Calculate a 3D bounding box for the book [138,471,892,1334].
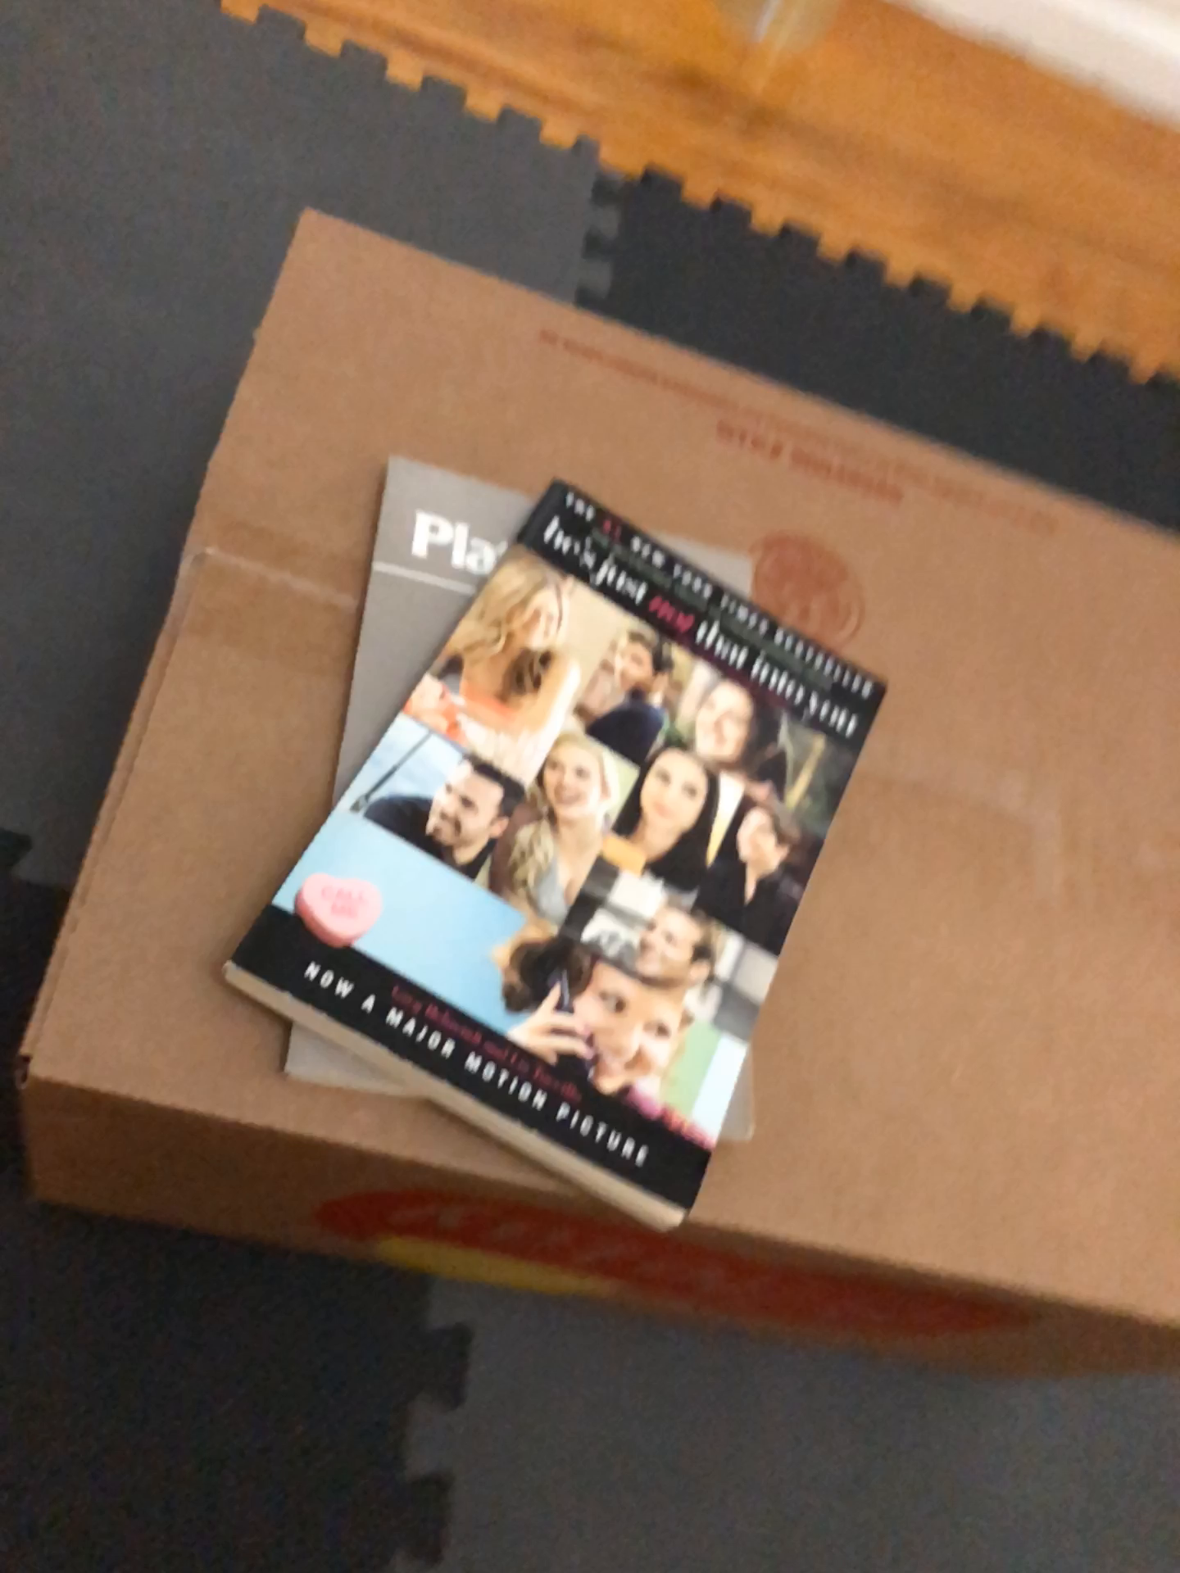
[{"bbox_3d":[-0.005,0.019,0.399,0.150,0.010,0.231,30,58,-5],"label":"book"}]
